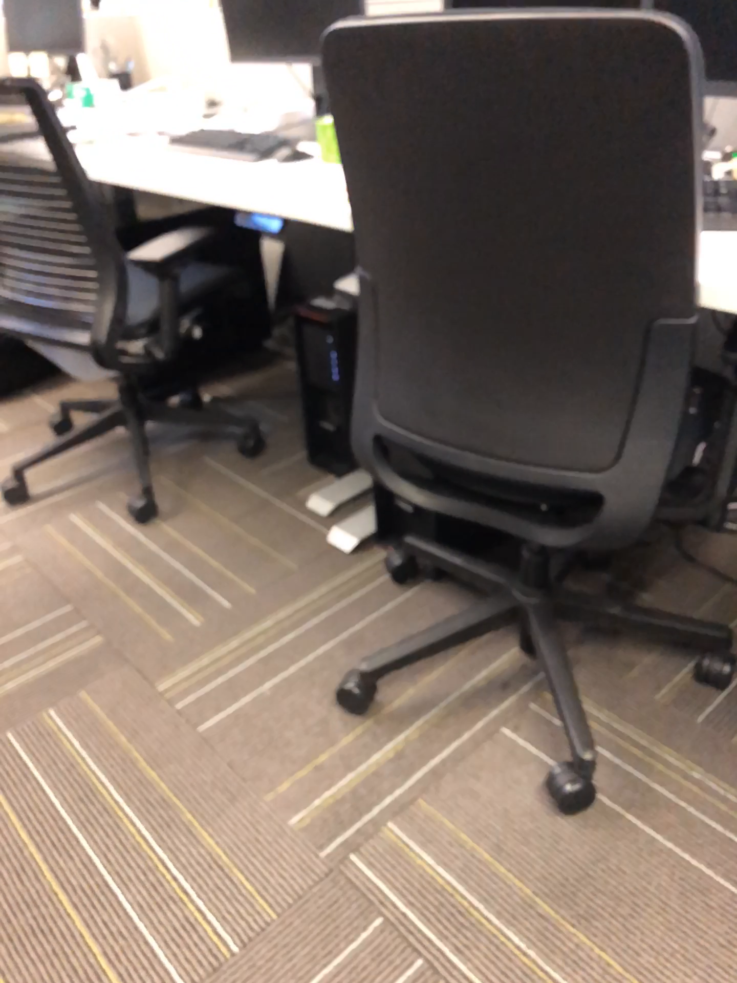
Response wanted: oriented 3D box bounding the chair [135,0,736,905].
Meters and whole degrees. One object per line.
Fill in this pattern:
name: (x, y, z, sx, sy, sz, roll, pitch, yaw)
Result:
chair: (0.259, -0.150, 1.271, 0.711, 1.044, 0.723, 19, 38, 34)
